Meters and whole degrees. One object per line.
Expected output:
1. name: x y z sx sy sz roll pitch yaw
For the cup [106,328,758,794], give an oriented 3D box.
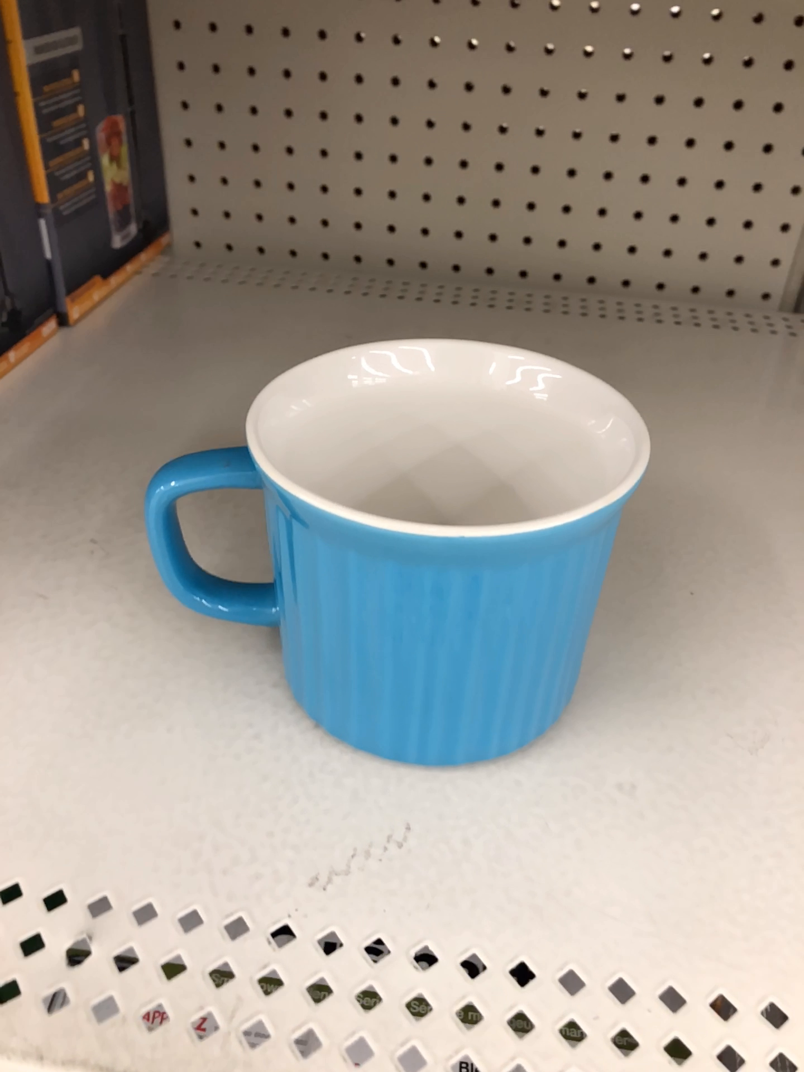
1. cup: 0.003 0.001 0.297 0.160 0.093 0.126 -1 36 -5
